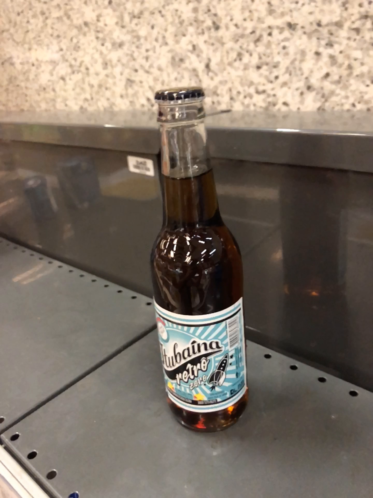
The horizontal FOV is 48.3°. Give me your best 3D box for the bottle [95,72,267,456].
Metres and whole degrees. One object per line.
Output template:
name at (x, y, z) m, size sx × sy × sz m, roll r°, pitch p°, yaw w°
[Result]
bottle at (0.007, 0.018, 0.272) m, size 0.070 × 0.238 × 0.050 m, roll 8°, pitch 29°, yaw 30°
